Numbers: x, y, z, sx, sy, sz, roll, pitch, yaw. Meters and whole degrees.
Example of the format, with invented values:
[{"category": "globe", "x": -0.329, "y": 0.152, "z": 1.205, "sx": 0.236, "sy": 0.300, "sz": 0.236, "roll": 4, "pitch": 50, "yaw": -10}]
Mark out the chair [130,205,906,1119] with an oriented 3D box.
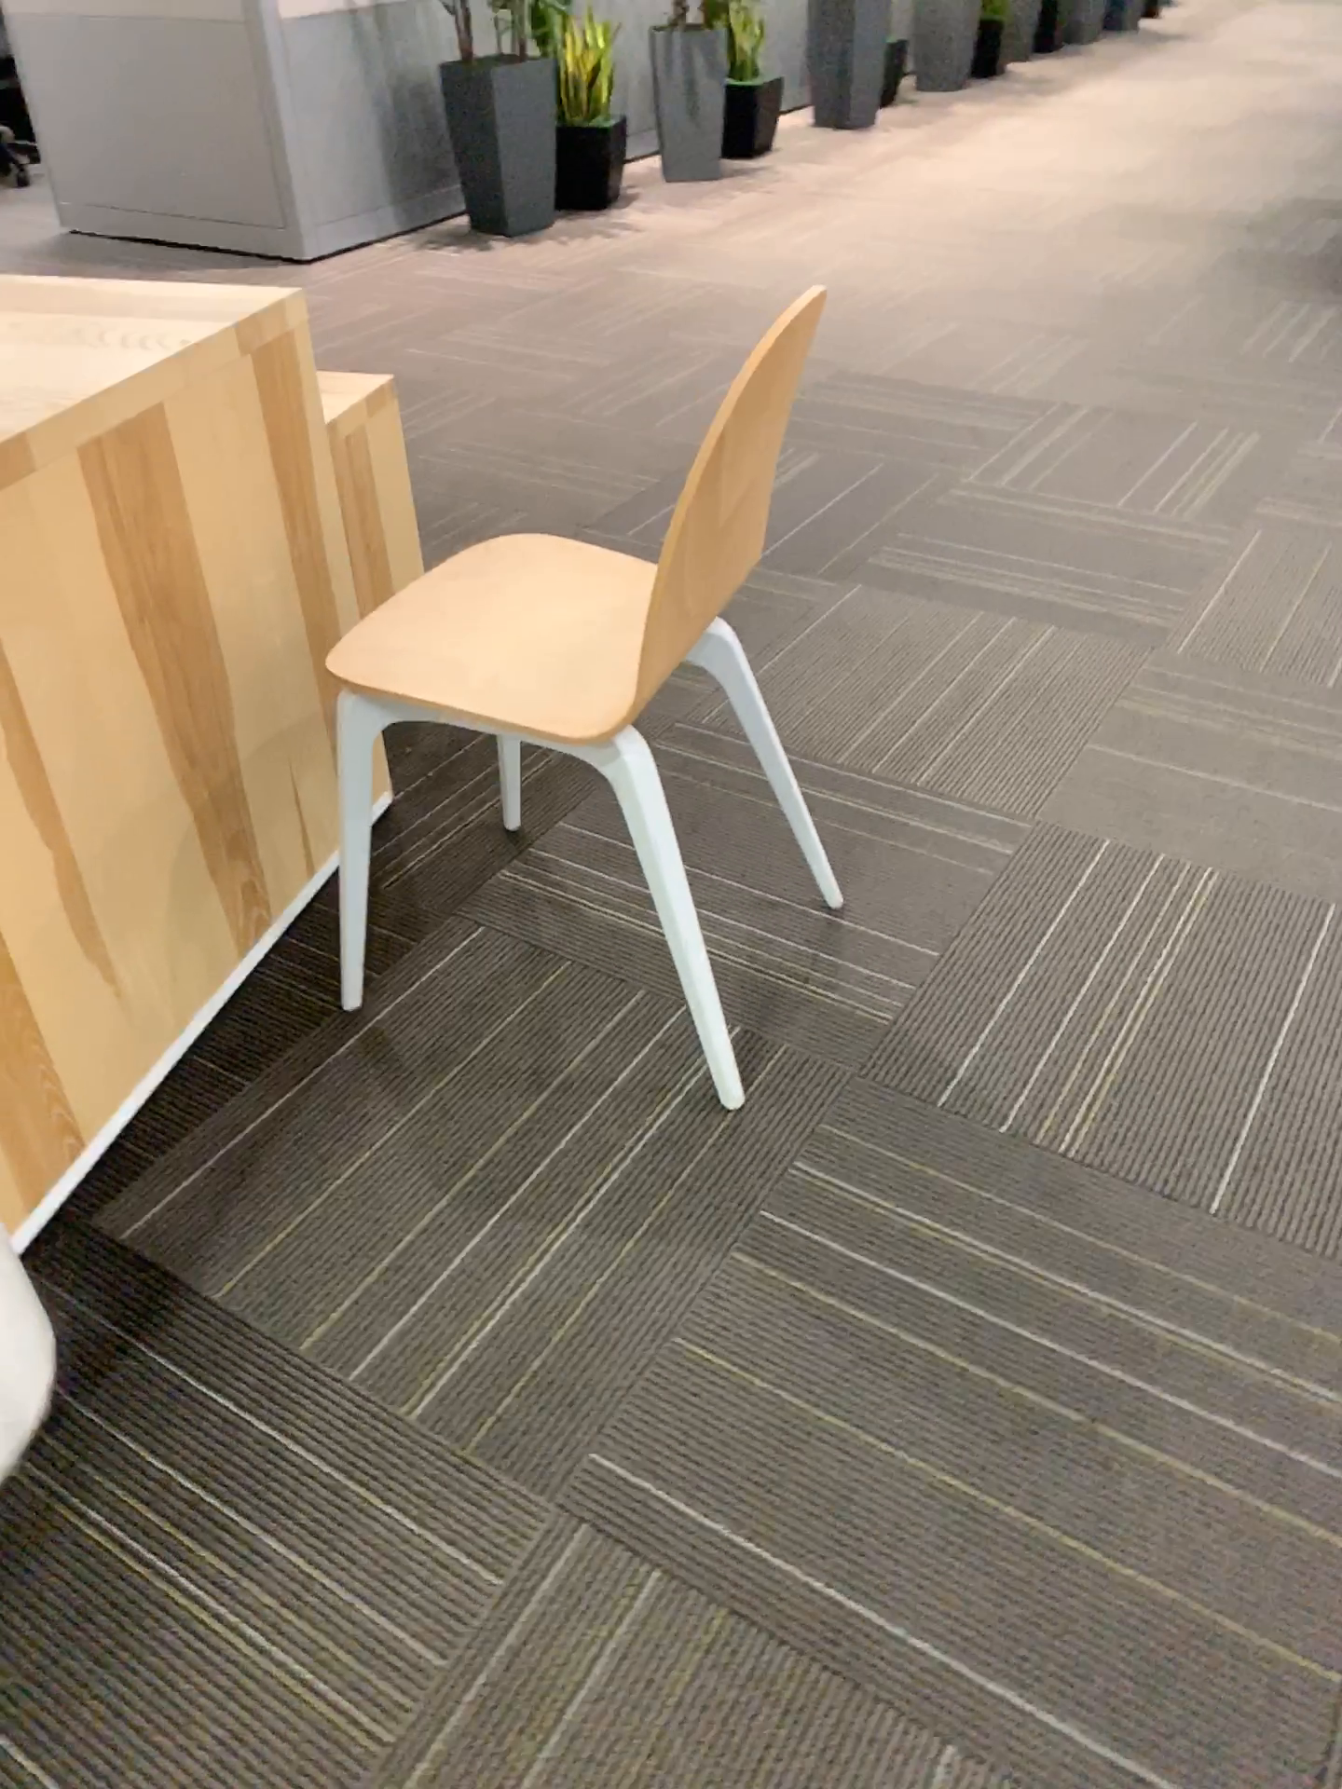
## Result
[{"category": "chair", "x": -0.109, "y": -0.269, "z": 1.540, "sx": 0.581, "sy": 0.805, "sz": 0.482, "roll": 12, "pitch": 39, "yaw": 18}]
